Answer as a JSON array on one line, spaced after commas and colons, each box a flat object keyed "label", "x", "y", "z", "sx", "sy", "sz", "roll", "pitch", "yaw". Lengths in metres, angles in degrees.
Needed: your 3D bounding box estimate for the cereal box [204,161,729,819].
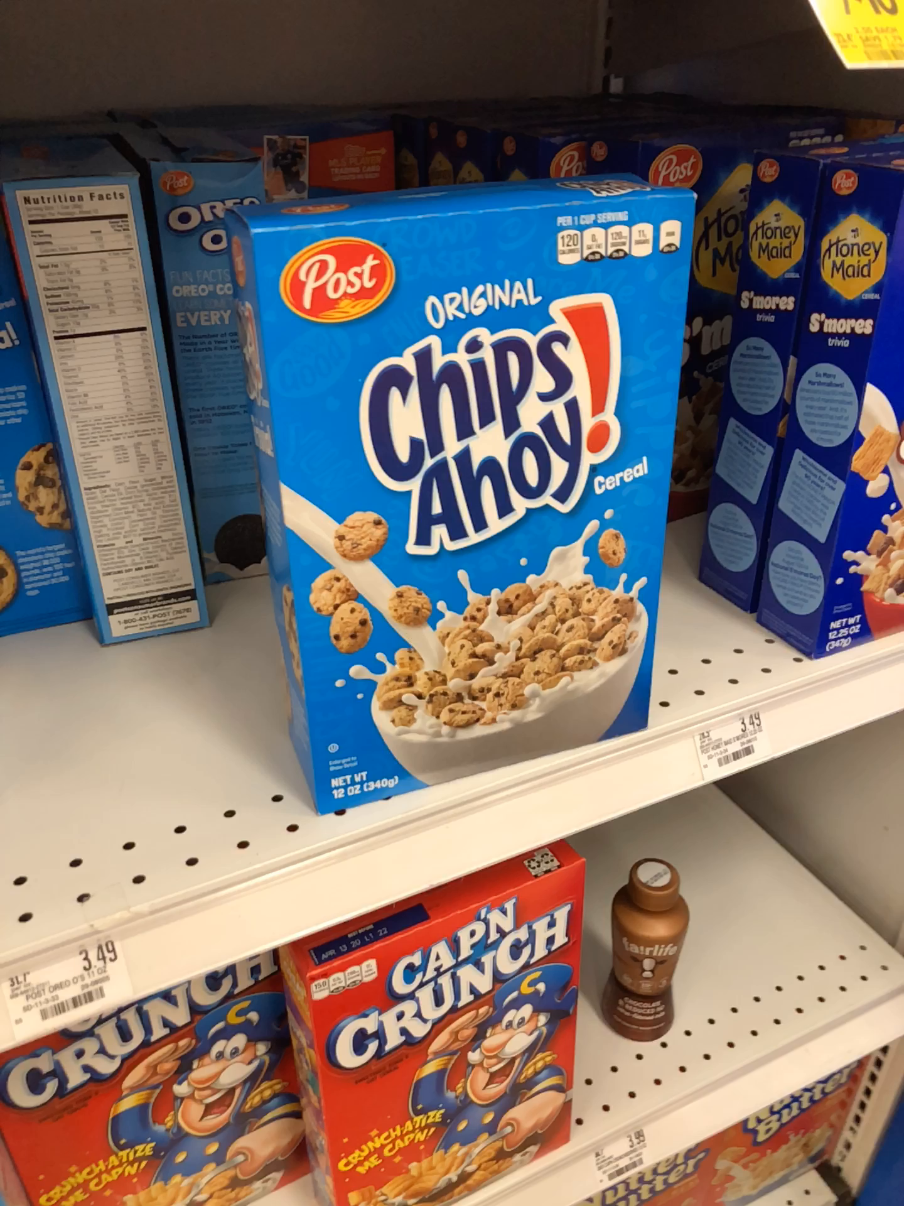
[{"label": "cereal box", "x": 0.007, "y": -0.051, "z": 0.454, "sx": 0.190, "sy": 0.259, "sz": 0.080, "roll": -11, "pitch": 30, "yaw": -18}]
